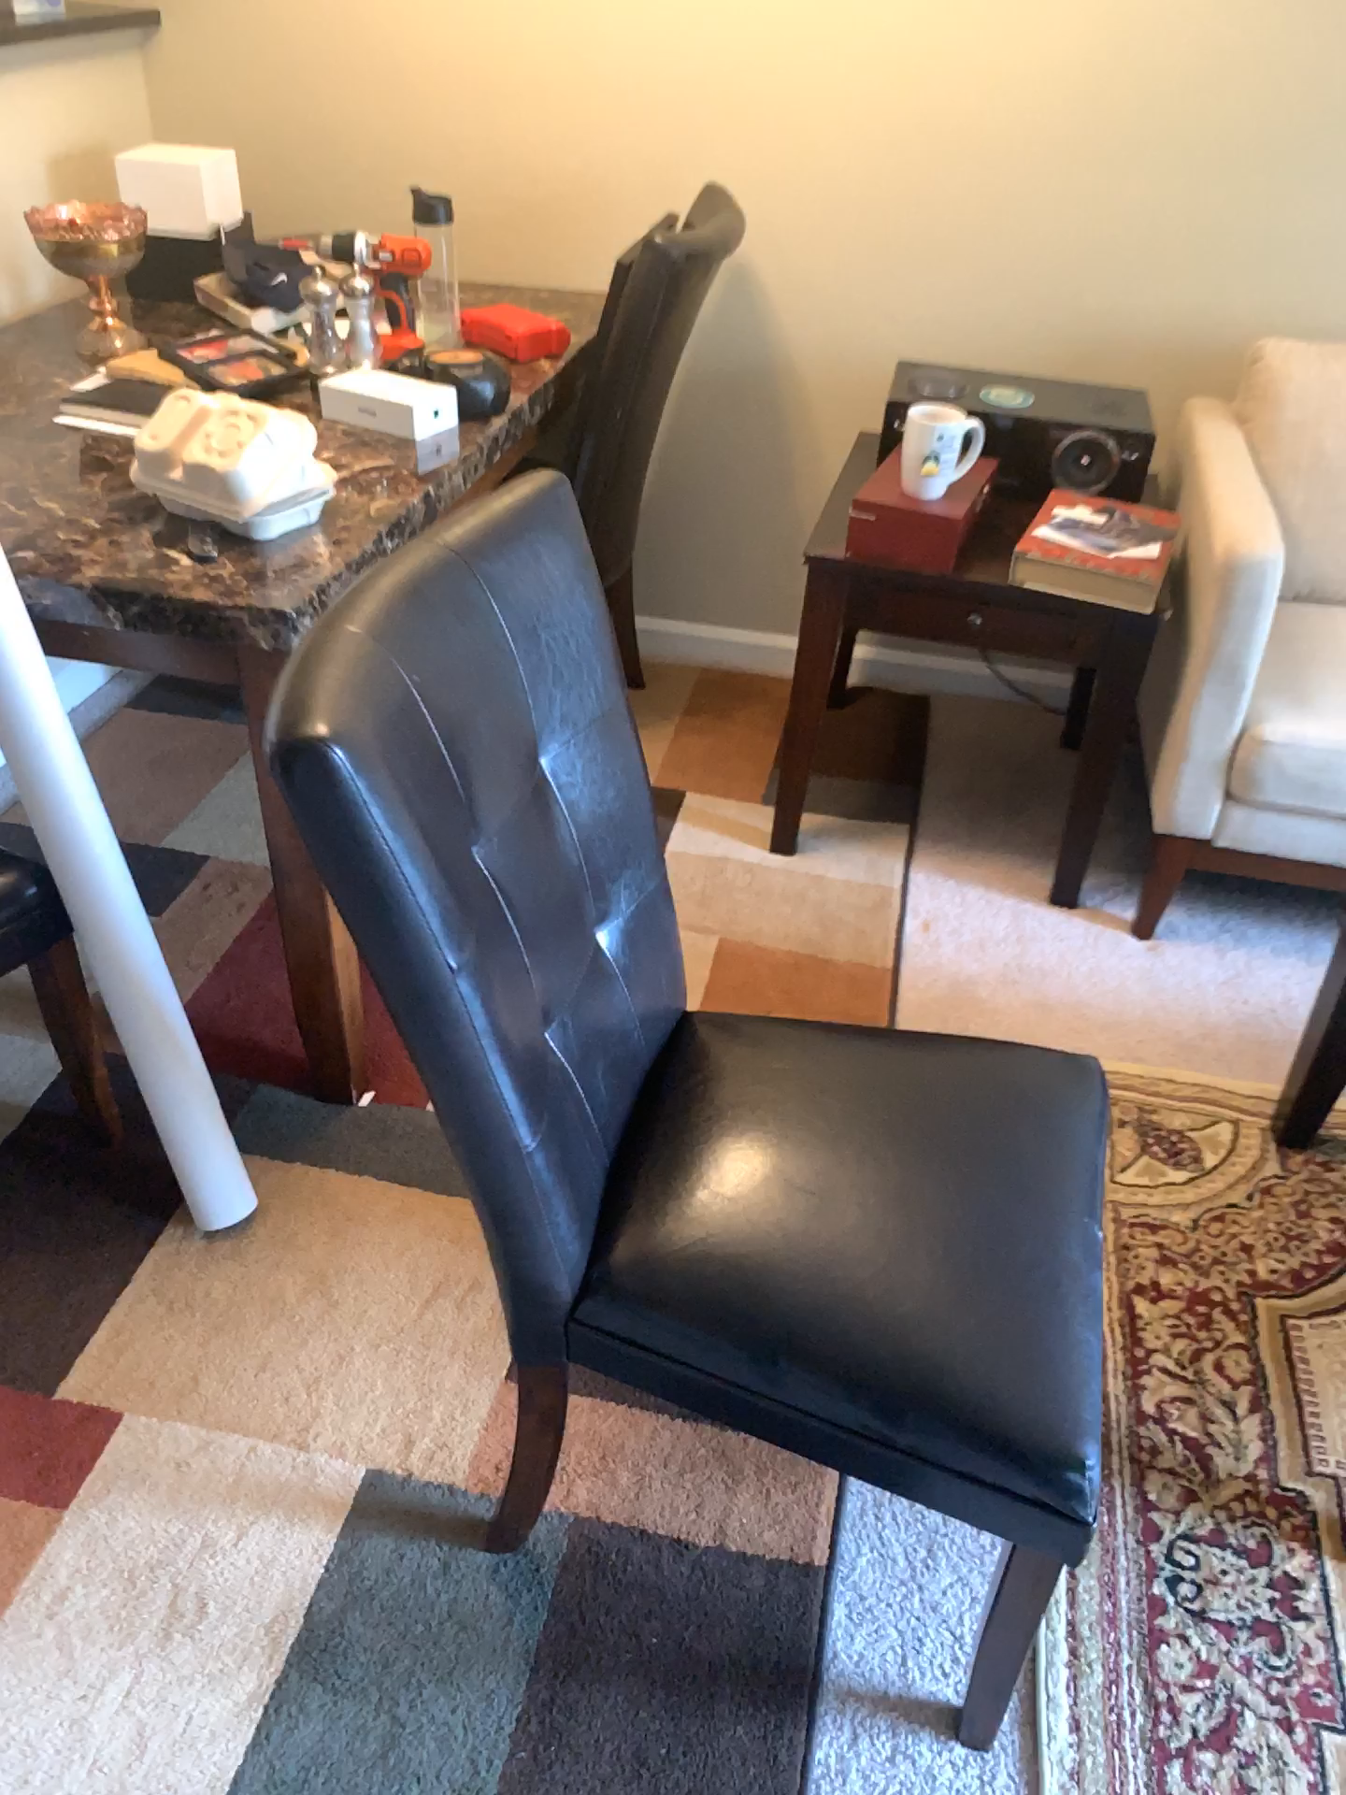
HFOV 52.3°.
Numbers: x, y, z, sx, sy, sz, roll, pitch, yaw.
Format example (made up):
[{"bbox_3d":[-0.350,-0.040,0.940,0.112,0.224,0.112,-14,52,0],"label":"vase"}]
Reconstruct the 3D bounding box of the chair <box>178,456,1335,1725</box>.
[{"bbox_3d":[0.059,0.179,1.217,0.650,0.914,0.493,10,36,9],"label":"chair"}]
